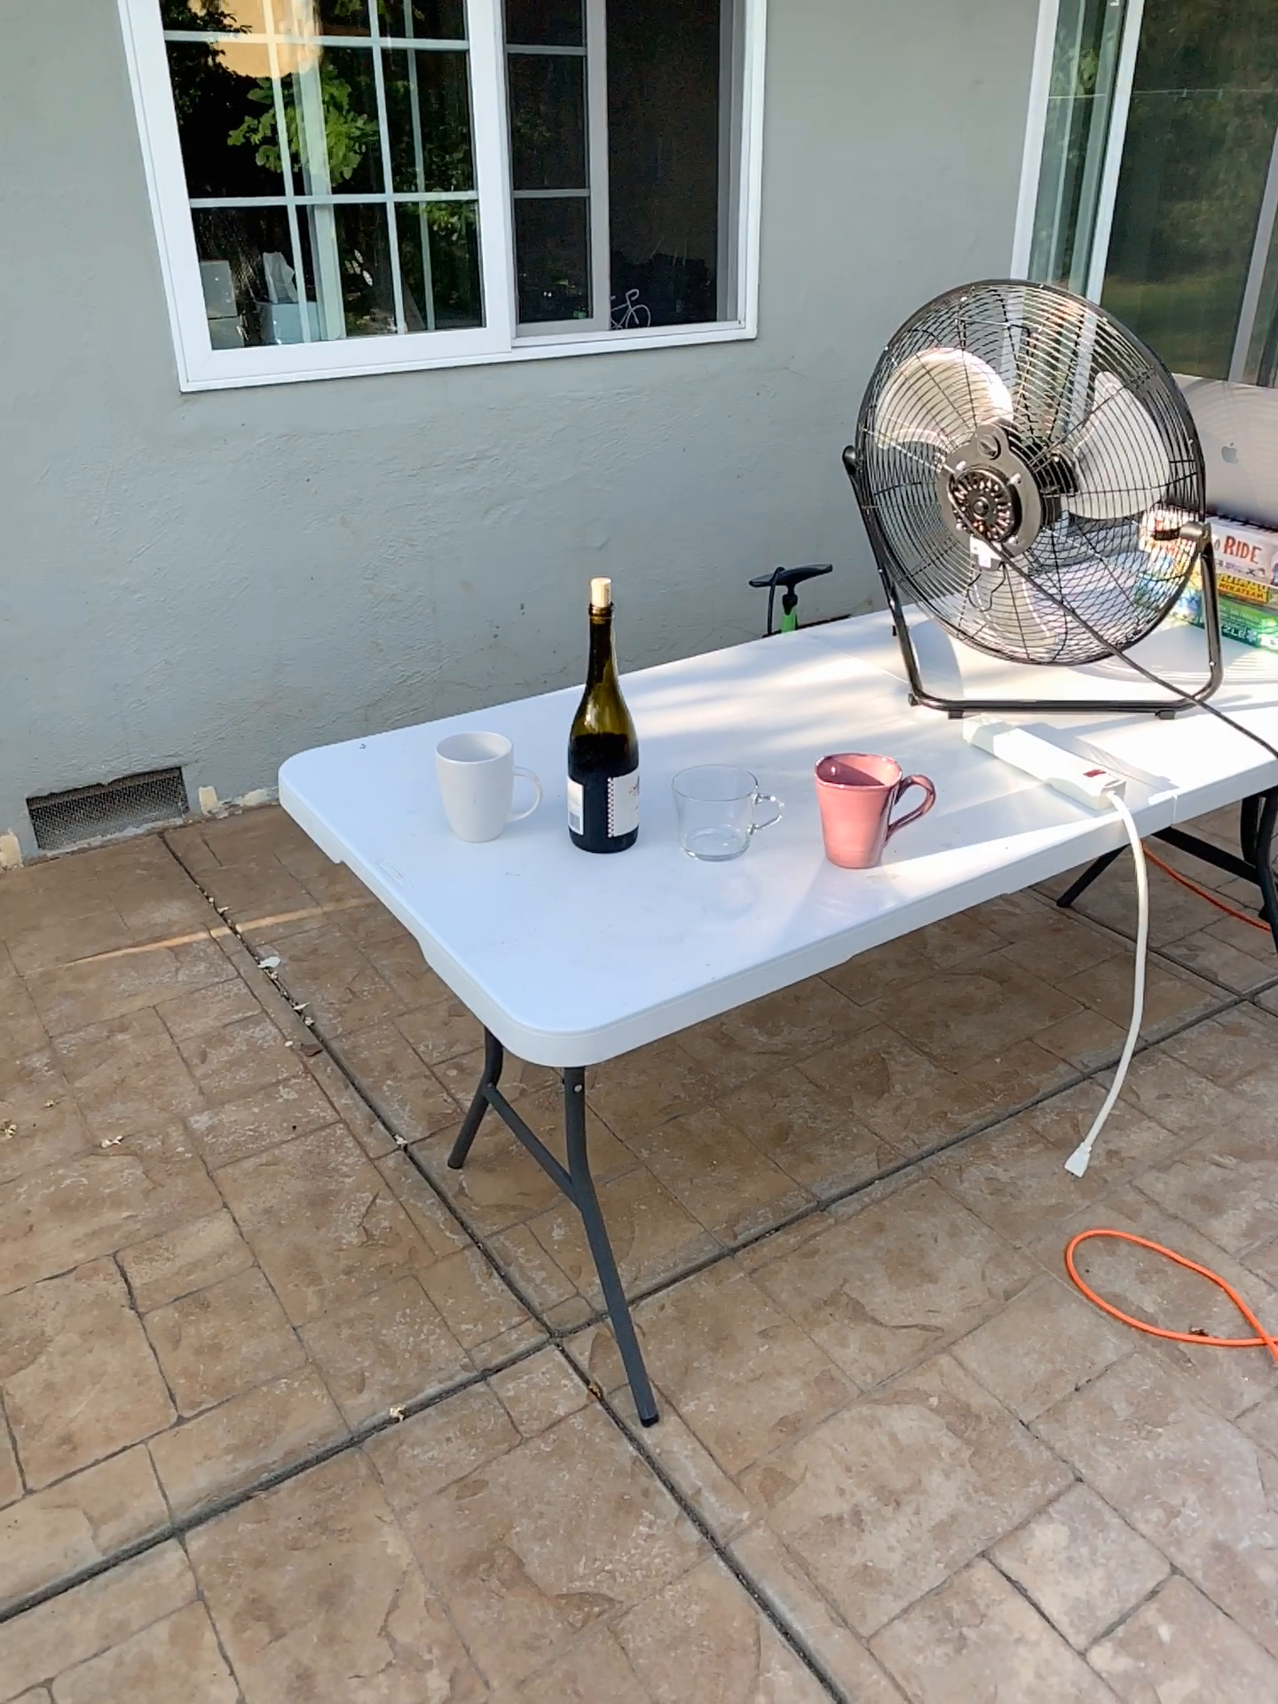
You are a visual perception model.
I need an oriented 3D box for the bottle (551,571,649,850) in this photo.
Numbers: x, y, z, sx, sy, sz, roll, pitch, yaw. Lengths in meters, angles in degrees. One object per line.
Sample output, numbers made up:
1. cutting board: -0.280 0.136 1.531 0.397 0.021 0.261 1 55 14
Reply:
1. bottle: -0.040 -0.161 1.508 0.100 0.303 0.103 0 27 0
